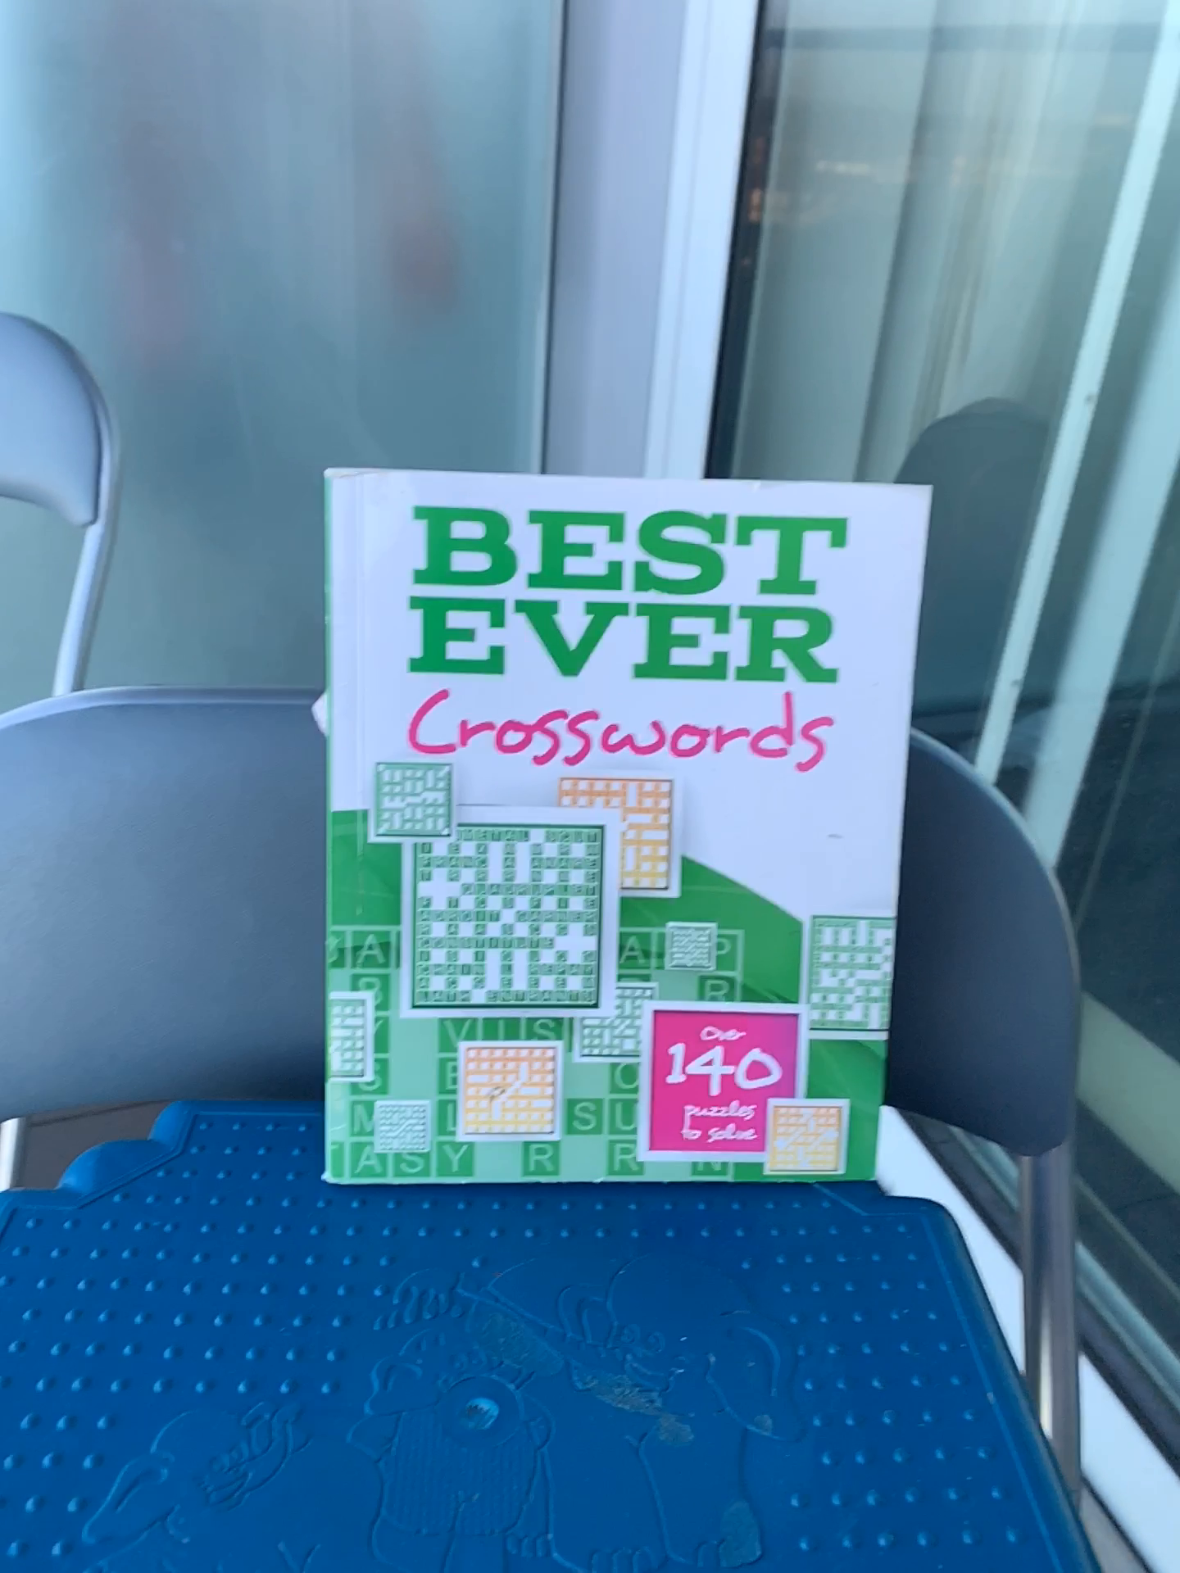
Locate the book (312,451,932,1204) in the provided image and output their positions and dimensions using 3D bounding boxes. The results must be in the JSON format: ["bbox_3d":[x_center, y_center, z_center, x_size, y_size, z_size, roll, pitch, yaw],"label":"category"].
[{"bbox_3d":[0.006,0.014,0.334,0.157,0.196,0.030,1,8,-6],"label":"book"}]
